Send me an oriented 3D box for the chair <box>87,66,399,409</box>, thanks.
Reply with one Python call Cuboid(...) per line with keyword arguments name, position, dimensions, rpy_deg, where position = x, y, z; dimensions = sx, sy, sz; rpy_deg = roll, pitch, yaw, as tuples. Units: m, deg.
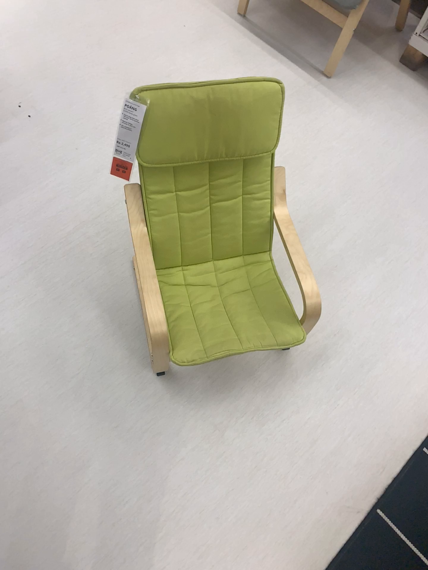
Cuboid(name="chair", position=(-0.007, -0.065, 1.272), dimensions=(0.520, 0.819, 0.571), rpy_deg=(-11, 65, -12))
